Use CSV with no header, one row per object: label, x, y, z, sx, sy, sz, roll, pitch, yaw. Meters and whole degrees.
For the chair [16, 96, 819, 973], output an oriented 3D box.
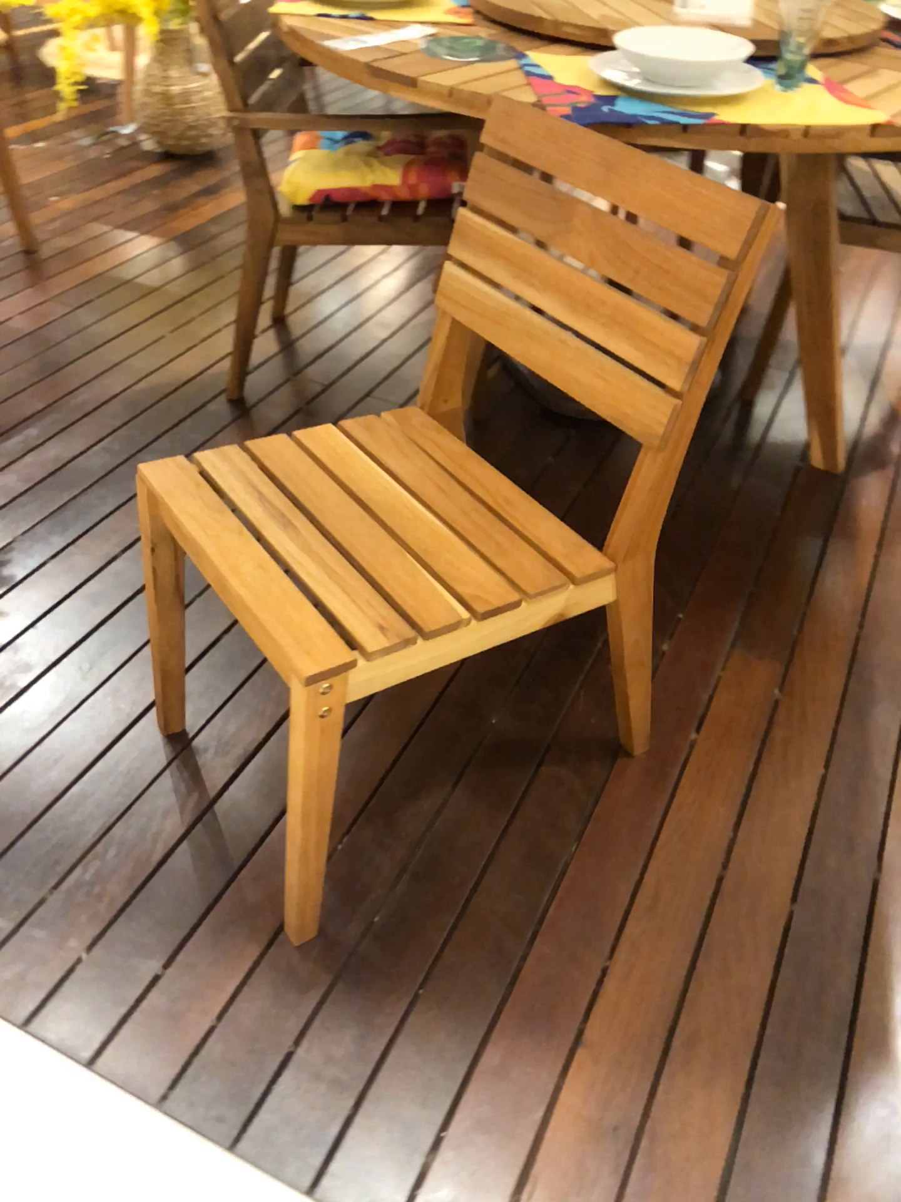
chair,-0.049,-0.096,1.175,0.602,0.764,0.462,-22,46,-27
